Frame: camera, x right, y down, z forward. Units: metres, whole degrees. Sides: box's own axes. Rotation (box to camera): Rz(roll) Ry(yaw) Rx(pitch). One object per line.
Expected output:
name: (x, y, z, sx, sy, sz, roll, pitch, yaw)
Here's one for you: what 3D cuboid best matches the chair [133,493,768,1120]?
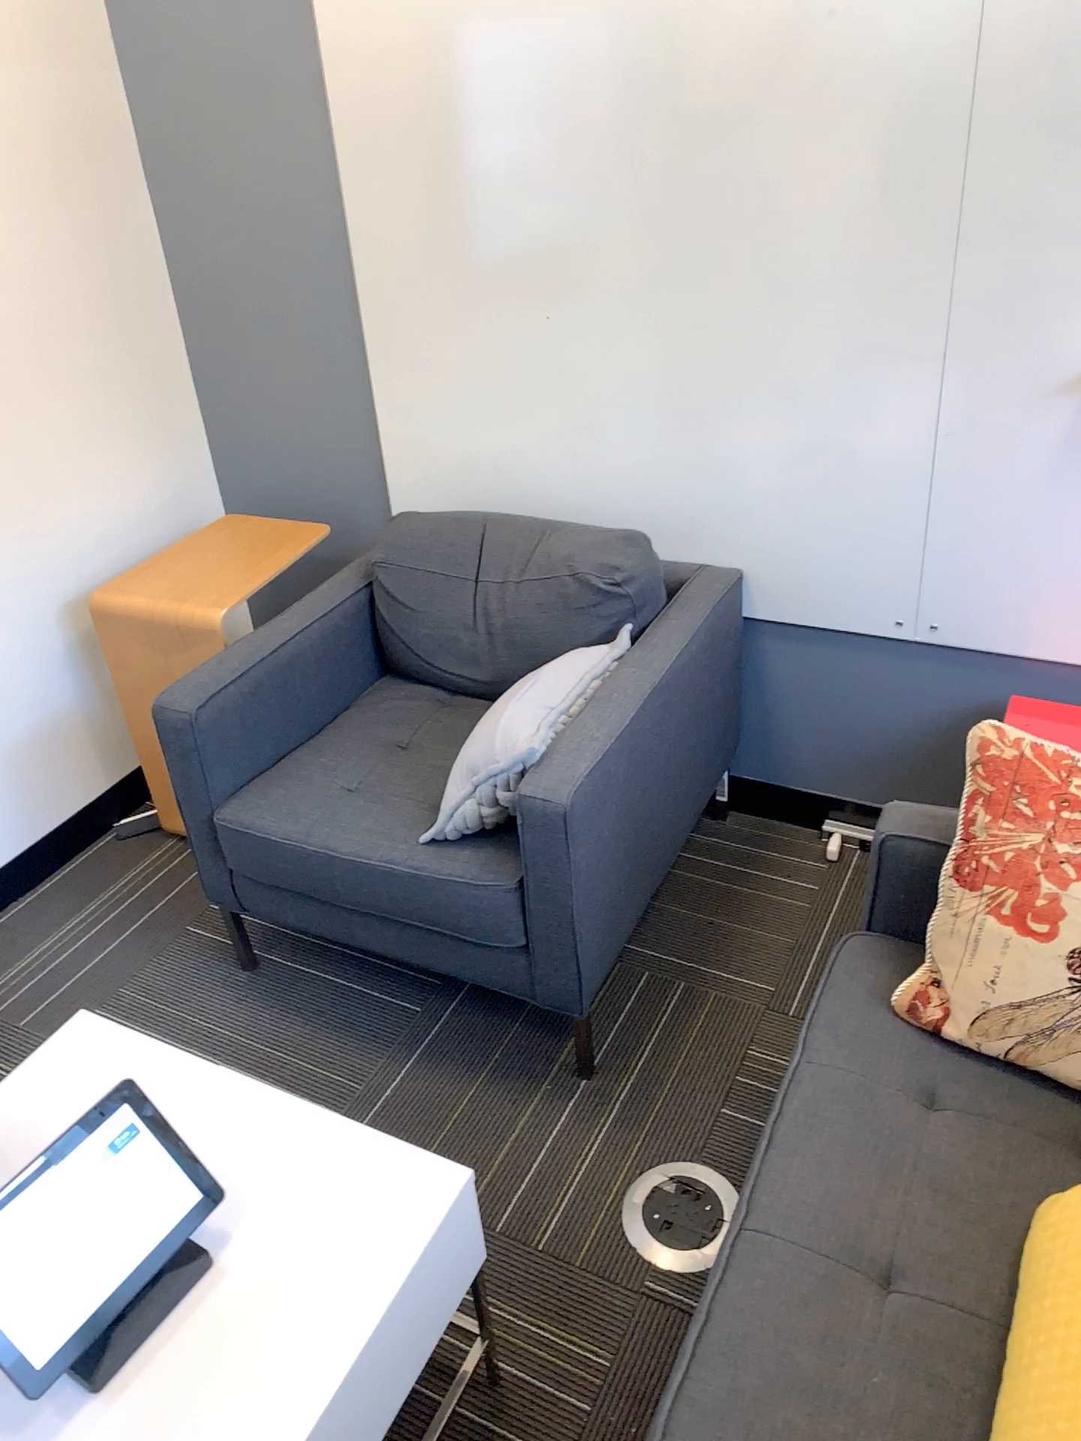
chair: (-0.090, 0.081, 2.253, 0.842, 0.716, 0.944, 11, 35, 24)
